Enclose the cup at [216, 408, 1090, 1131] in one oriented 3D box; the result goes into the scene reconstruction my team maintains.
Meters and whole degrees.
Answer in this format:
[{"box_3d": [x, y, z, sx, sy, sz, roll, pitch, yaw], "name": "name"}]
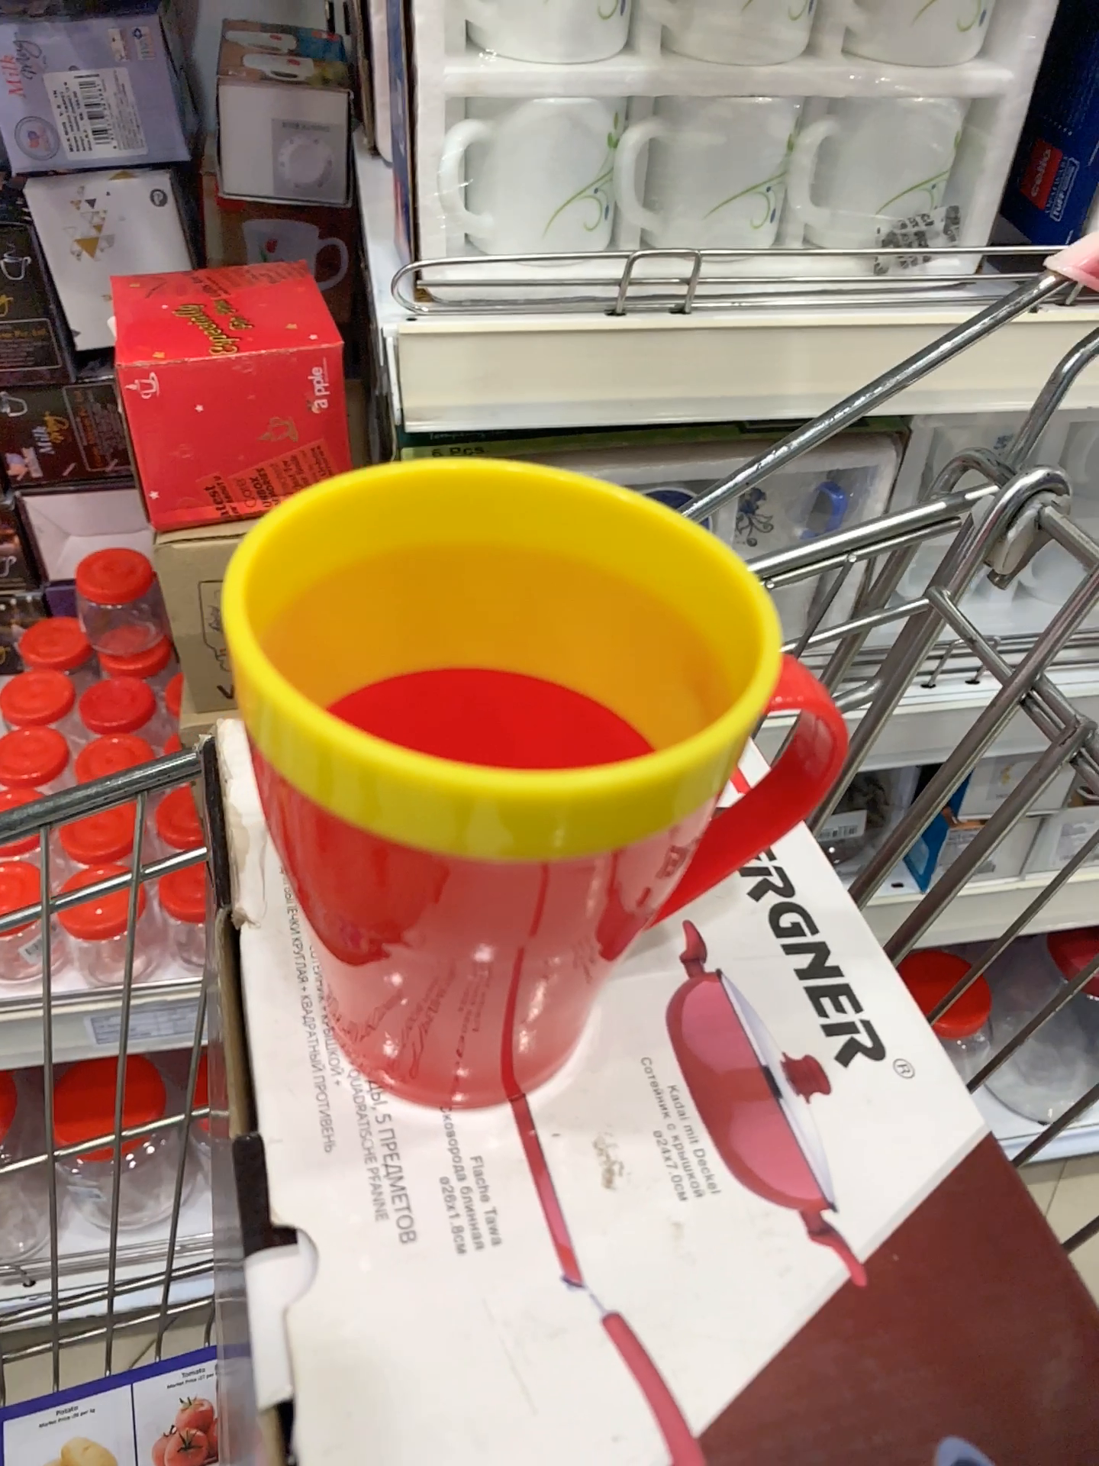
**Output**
[{"box_3d": [0.005, 0.001, 0.192, 0.110, 0.080, 0.080, -5, 43, -14], "name": "cup"}]
